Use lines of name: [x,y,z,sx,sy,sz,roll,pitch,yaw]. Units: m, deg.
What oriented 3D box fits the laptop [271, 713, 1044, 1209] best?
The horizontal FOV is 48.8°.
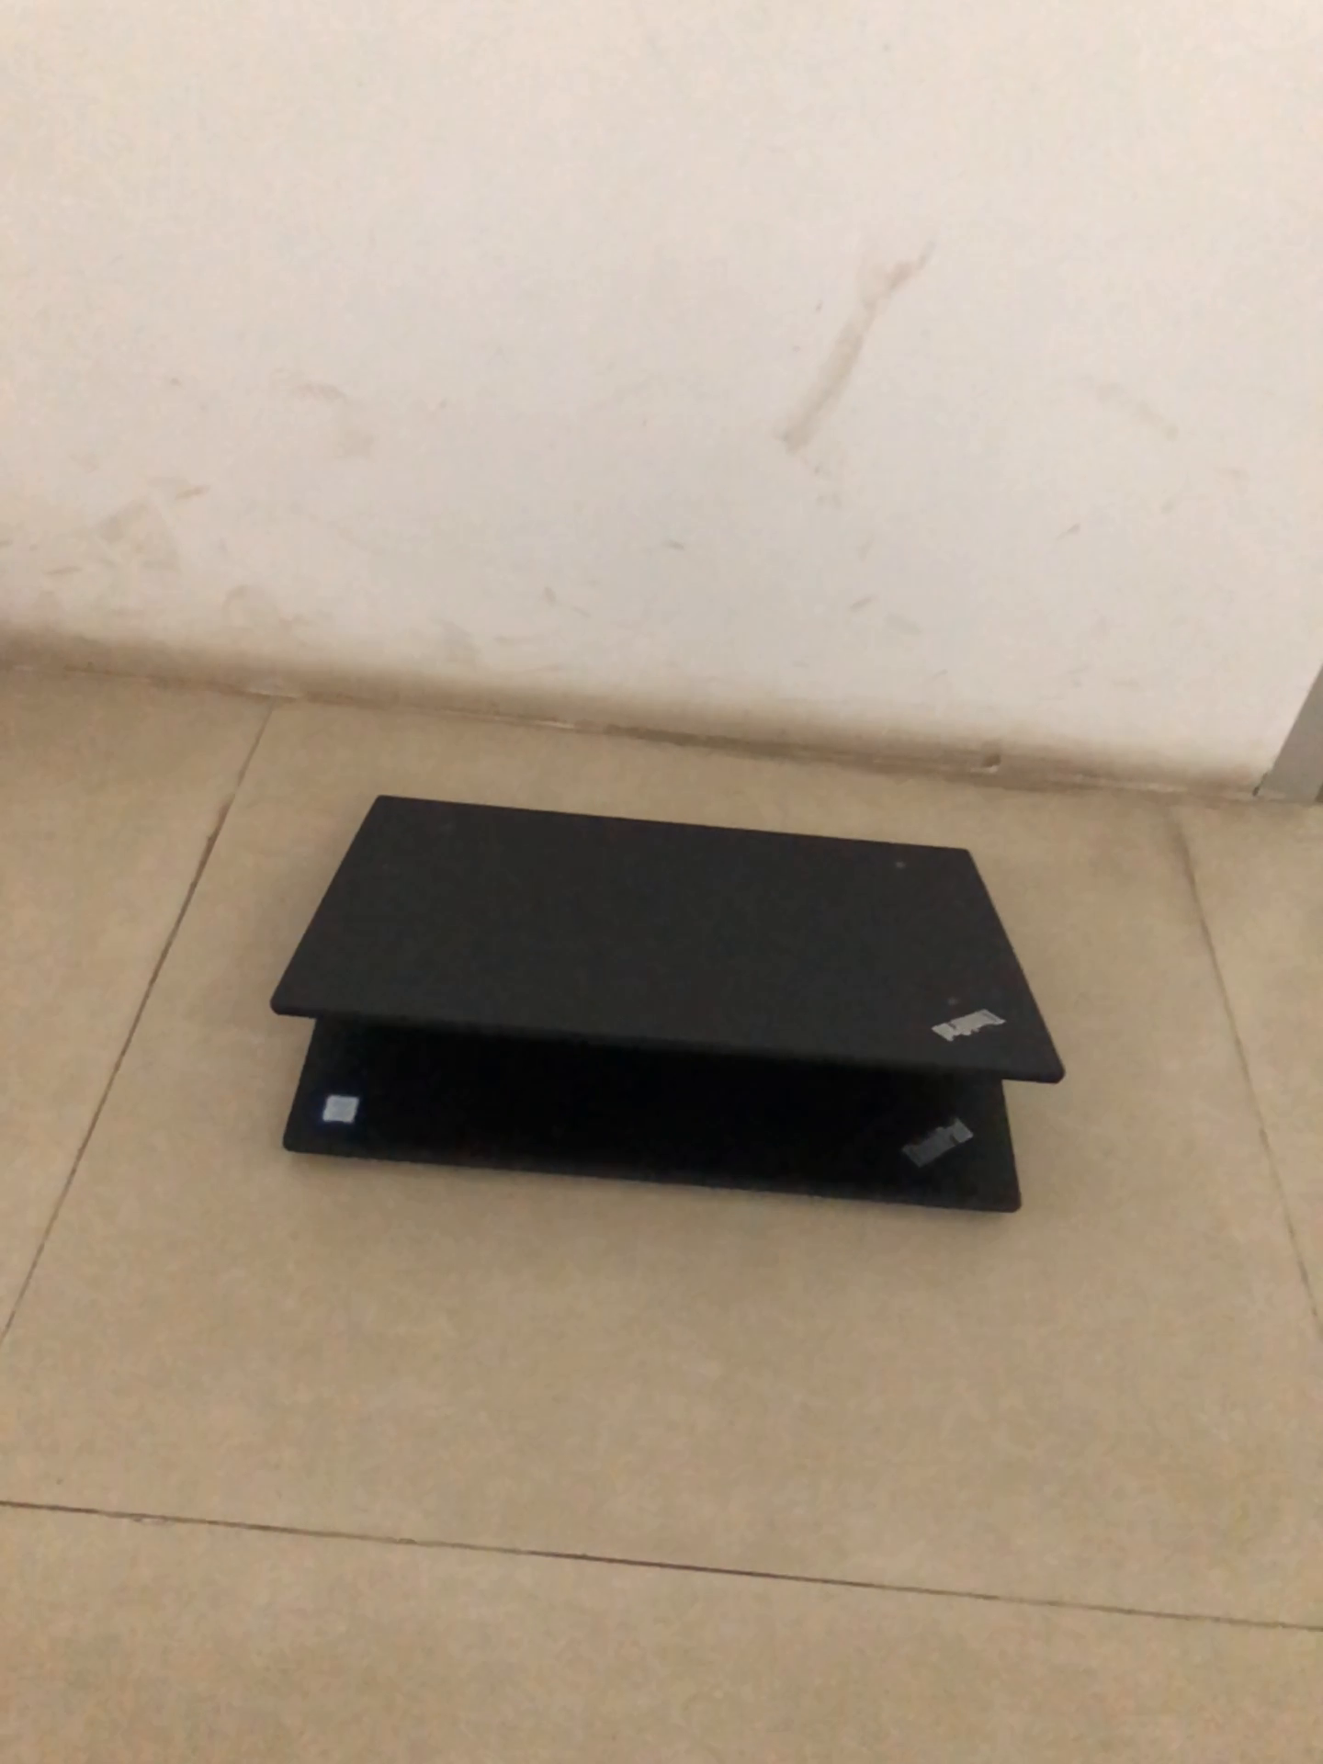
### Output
laptop: [0.000,0.032,0.761,0.349,0.071,0.237,5,47,-1]
